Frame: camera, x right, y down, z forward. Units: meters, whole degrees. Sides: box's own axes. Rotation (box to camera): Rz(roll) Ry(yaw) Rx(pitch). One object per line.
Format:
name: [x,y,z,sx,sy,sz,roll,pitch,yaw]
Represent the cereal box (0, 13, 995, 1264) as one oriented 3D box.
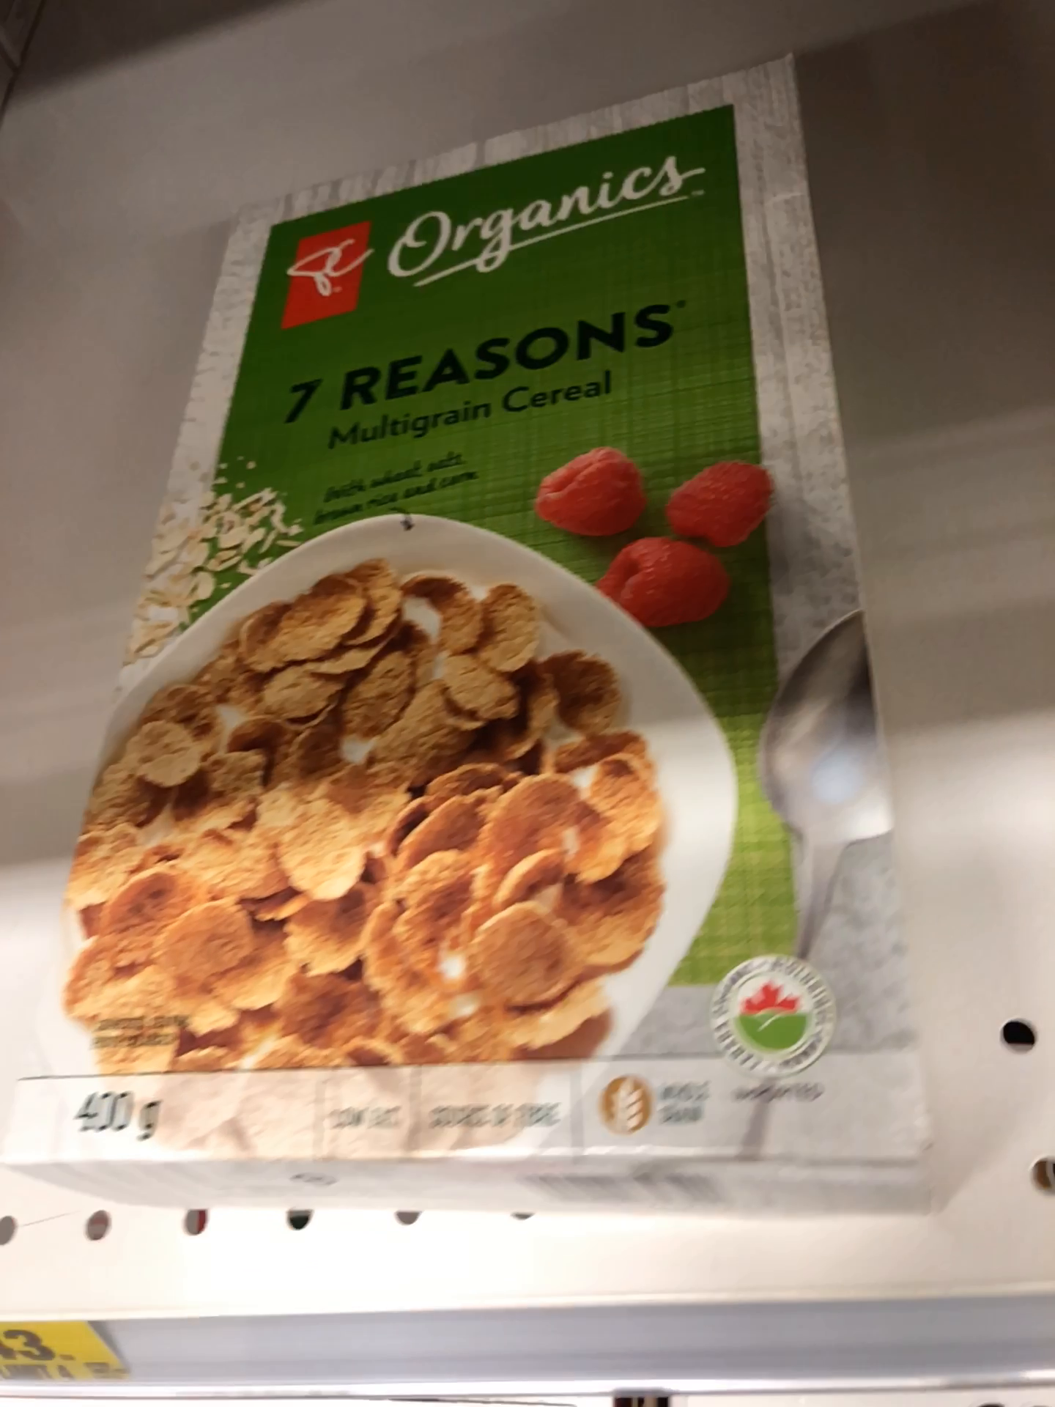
cereal box: [-0.013,-0.025,0.262,0.180,0.060,0.260,-7,58,17]
